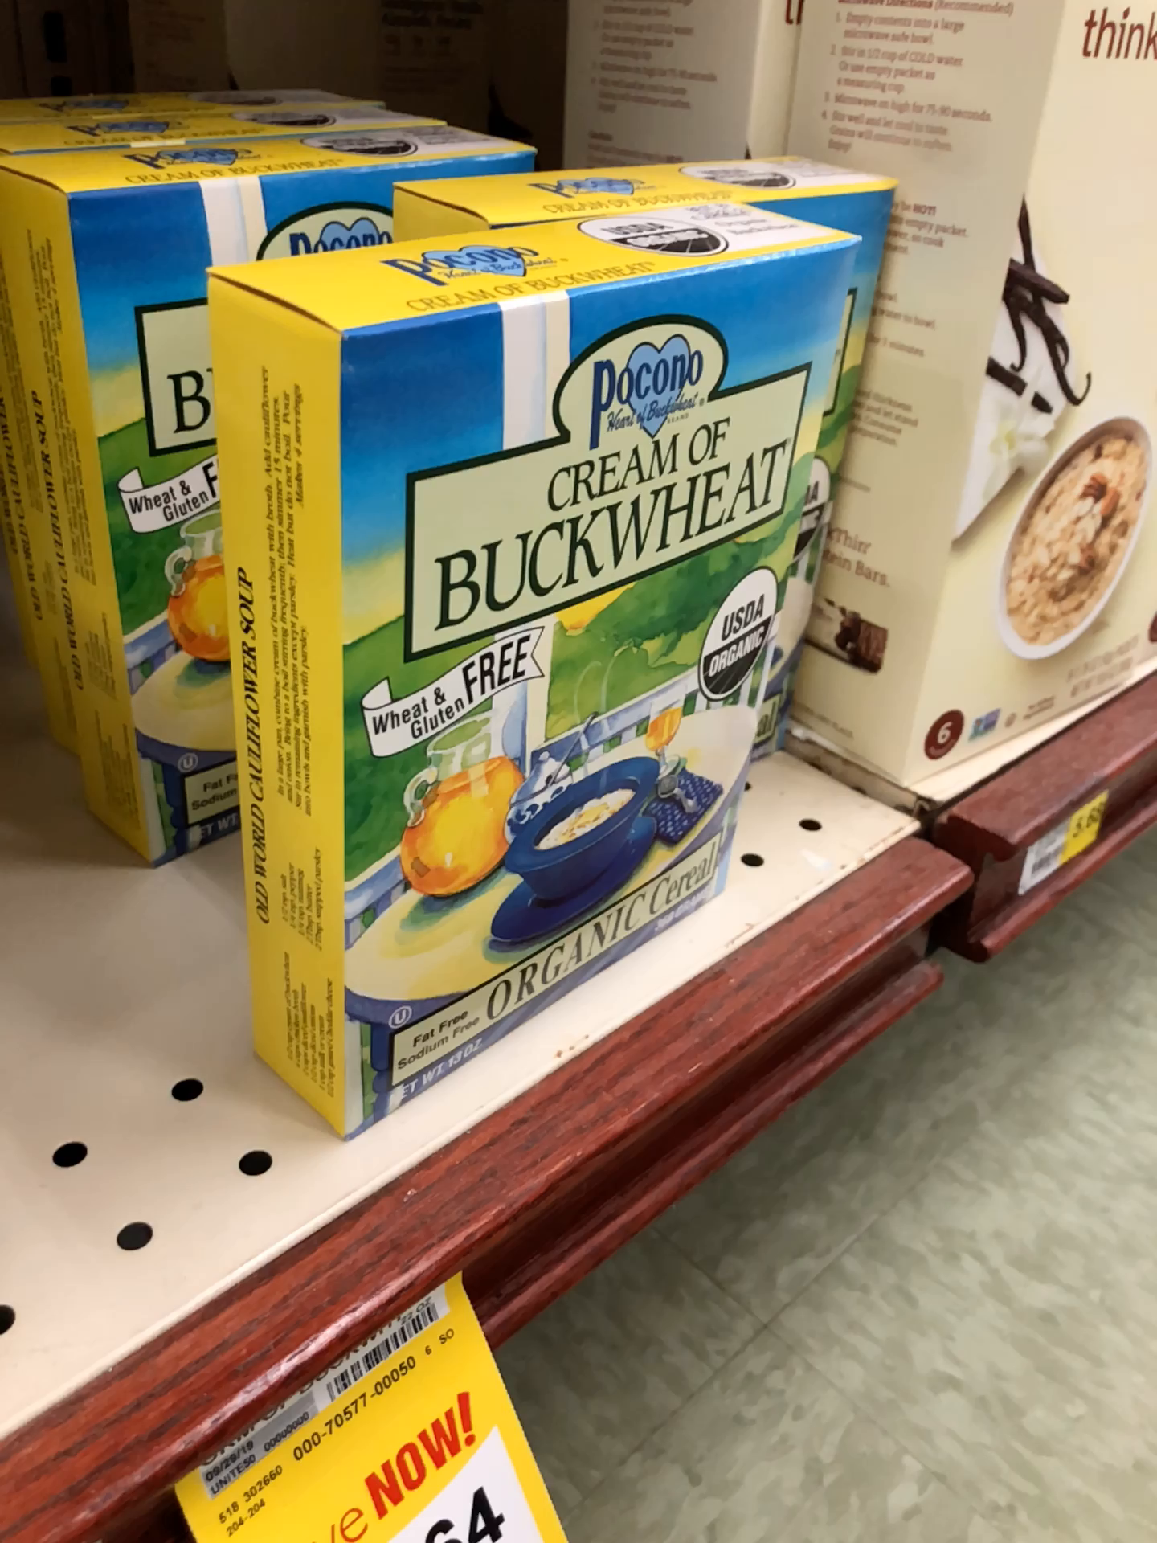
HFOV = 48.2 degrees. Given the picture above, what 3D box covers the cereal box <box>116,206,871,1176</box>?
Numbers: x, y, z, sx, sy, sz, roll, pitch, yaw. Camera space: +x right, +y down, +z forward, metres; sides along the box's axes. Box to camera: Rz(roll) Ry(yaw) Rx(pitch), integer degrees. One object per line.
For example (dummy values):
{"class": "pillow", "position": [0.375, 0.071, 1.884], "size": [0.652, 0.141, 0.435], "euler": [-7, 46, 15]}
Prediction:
{"class": "cereal box", "position": [-0.010, -0.020, 0.249], "size": [0.040, 0.150, 0.130], "euler": [29, 40, 34]}
